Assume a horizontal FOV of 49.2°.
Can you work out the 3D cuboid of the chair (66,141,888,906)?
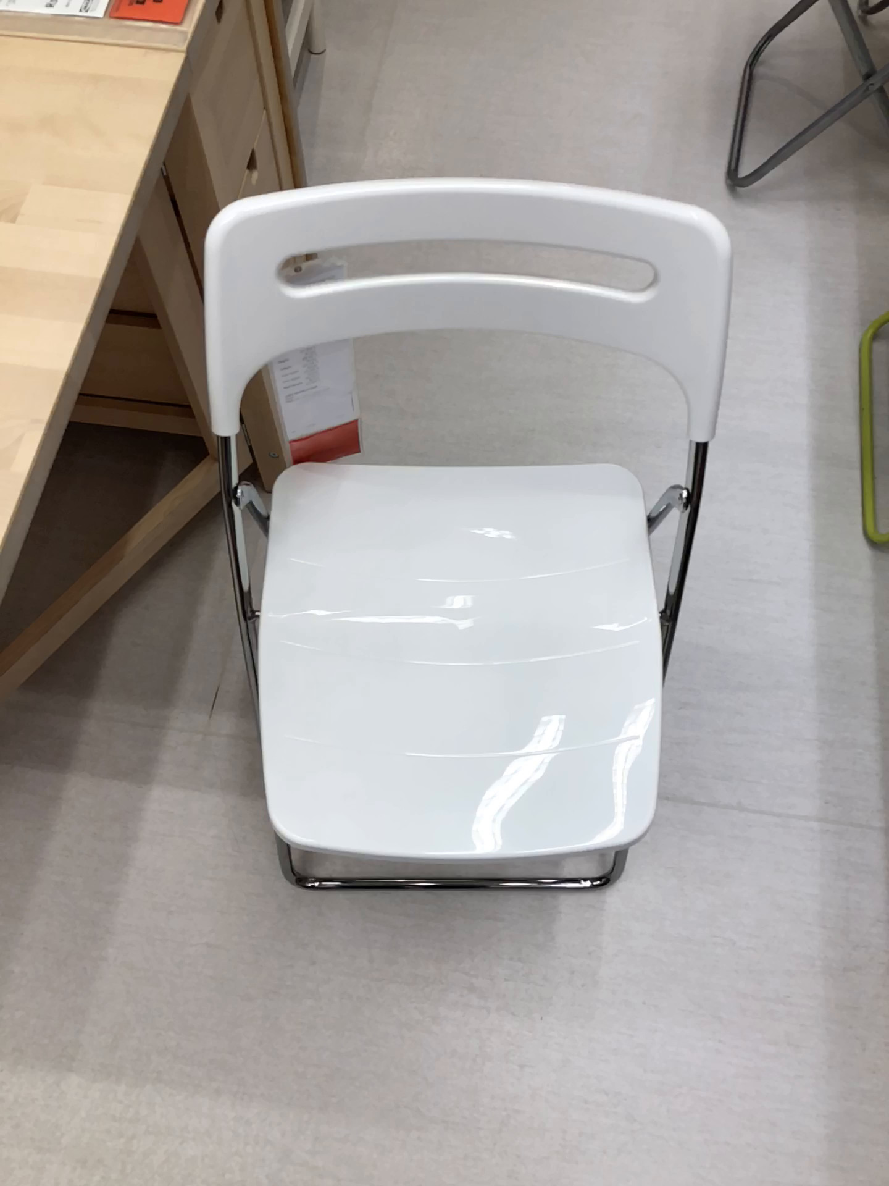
[{"bbox_3d":[0.022,0.026,0.920,0.440,0.717,0.422,1,65,0],"label":"chair"}]
